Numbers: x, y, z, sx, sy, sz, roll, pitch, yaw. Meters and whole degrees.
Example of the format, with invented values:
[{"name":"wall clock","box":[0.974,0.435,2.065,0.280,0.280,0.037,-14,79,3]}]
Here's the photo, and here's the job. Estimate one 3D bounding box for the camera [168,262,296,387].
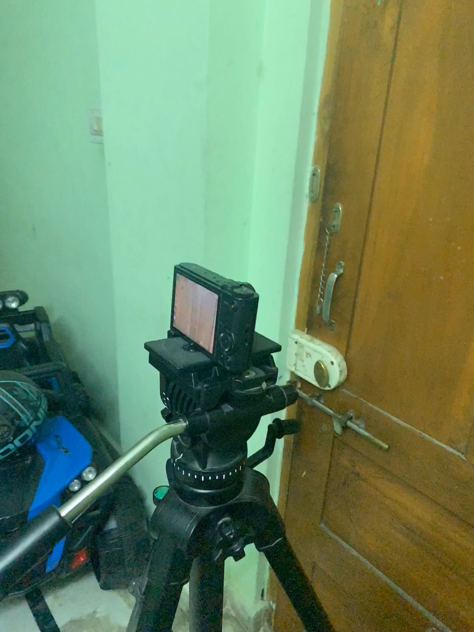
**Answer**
[{"name":"camera","box":[-0.008,0.001,0.371,0.040,0.060,0.100,-6,24,-37]}]
